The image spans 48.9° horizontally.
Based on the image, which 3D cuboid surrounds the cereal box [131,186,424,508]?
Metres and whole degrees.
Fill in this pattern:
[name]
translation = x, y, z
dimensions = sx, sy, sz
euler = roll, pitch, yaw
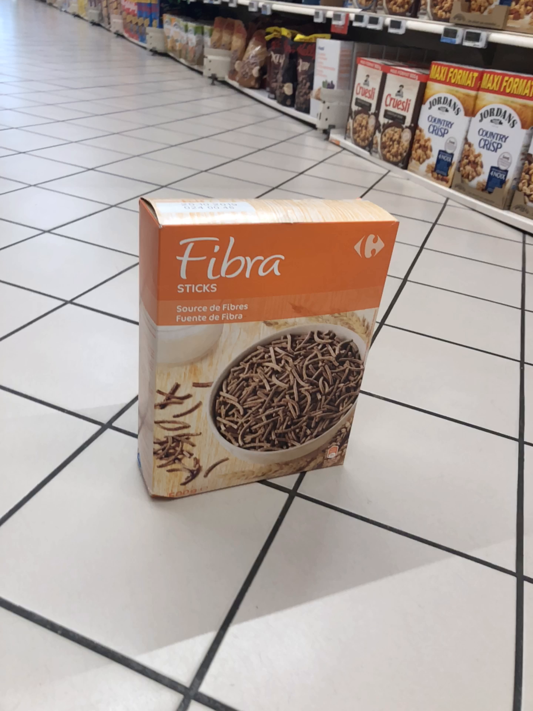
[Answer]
[cereal box]
translation = -0.003, -0.008, 0.489
dimensions = 0.201, 0.238, 0.080
euler = -6, 32, -23
